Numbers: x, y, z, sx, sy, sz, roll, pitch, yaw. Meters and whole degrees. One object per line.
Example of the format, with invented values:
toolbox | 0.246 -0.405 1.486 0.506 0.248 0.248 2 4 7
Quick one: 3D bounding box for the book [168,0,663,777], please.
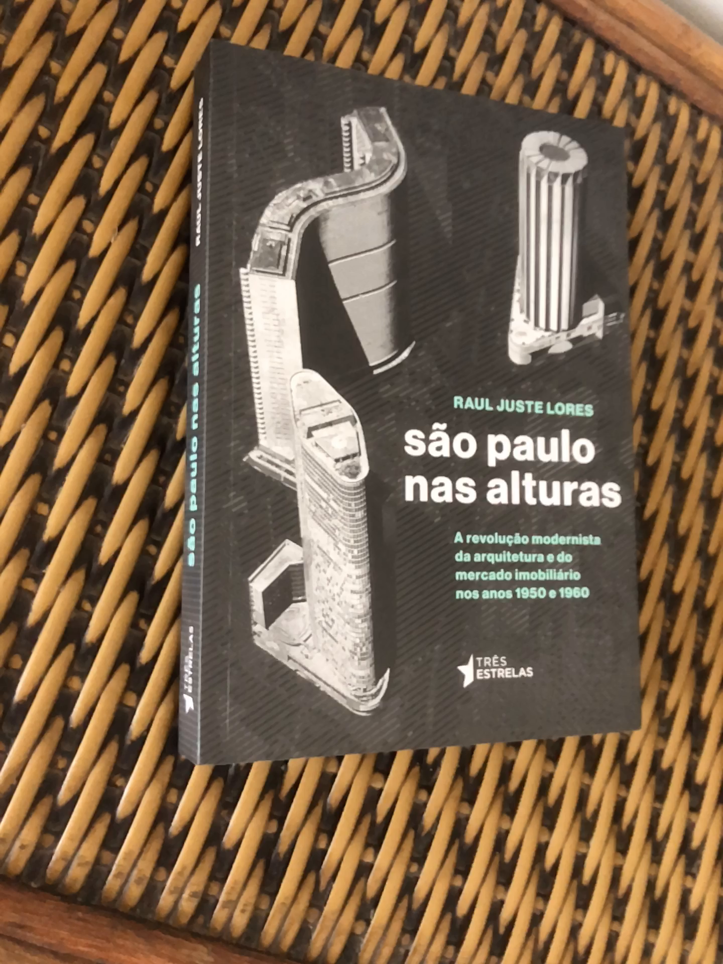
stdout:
book | 0.023 -0.027 0.265 0.160 0.030 0.221 2 87 -20
